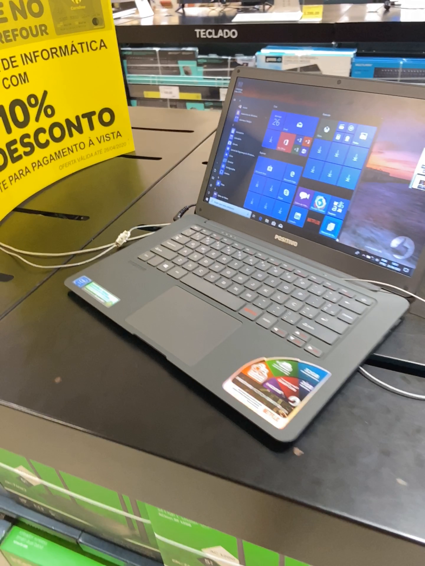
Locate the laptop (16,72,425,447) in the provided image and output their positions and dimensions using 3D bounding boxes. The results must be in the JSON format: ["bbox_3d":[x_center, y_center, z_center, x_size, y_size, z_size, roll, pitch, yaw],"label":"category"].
[{"bbox_3d":[0.040,-0.075,0.419,0.297,0.159,0.293,27,47,36],"label":"laptop"}]
